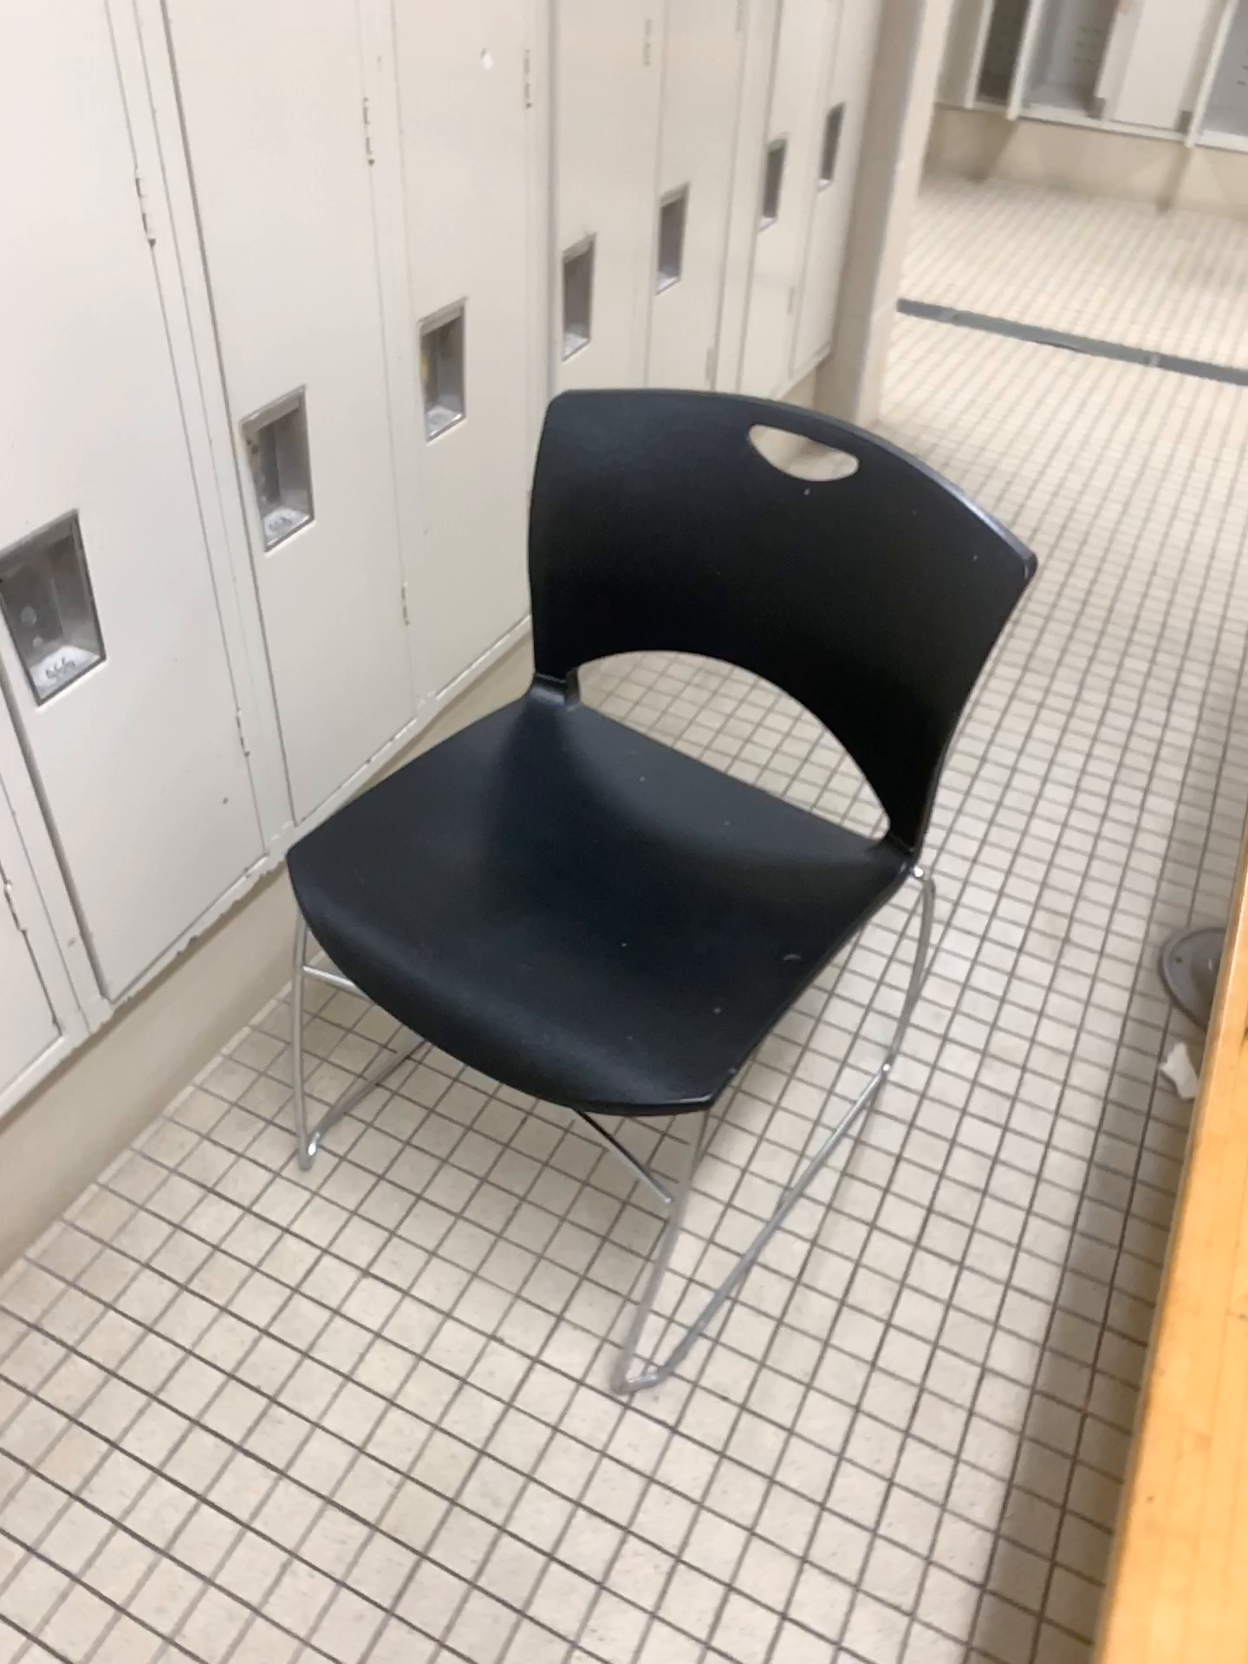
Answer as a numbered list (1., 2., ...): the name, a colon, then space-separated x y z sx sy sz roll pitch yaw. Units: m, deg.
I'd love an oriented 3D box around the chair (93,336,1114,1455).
1. chair: 0.007 0.014 1.133 0.476 0.631 0.615 27 45 25
